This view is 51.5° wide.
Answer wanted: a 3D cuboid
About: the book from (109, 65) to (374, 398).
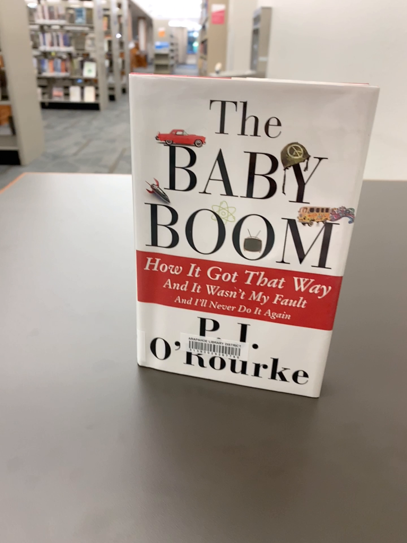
[{"bbox_3d":[0.017,-0.021,0.313,0.160,0.231,0.030,7,24,10],"label":"book"}]
